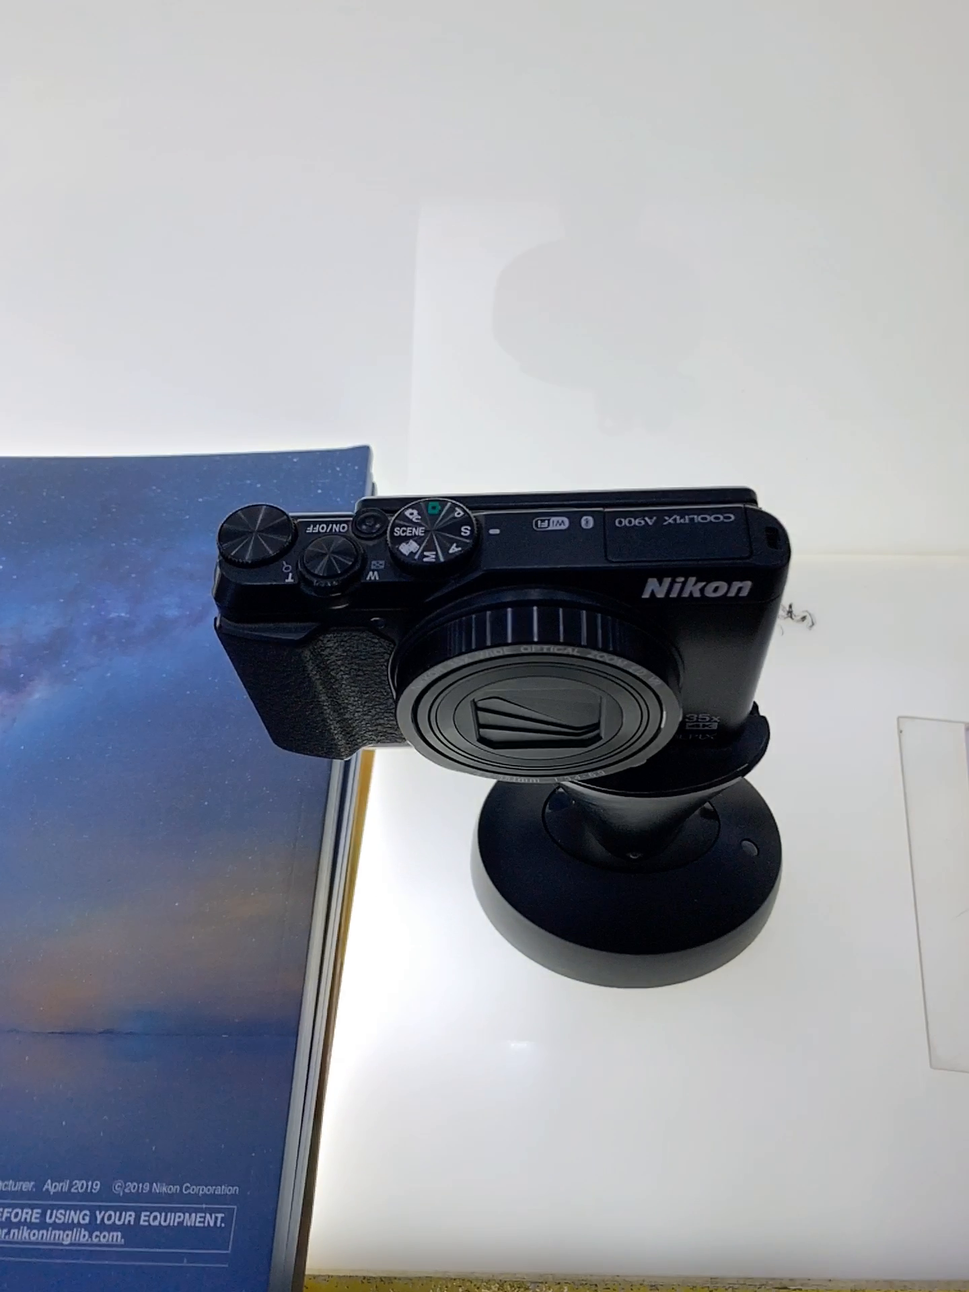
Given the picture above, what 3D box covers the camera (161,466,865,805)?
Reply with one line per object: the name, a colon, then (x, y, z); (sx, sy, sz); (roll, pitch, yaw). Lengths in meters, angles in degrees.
camera: (0.005, 0.000, 0.207); (0.120, 0.060, 0.040); (-1, 56, 1)
